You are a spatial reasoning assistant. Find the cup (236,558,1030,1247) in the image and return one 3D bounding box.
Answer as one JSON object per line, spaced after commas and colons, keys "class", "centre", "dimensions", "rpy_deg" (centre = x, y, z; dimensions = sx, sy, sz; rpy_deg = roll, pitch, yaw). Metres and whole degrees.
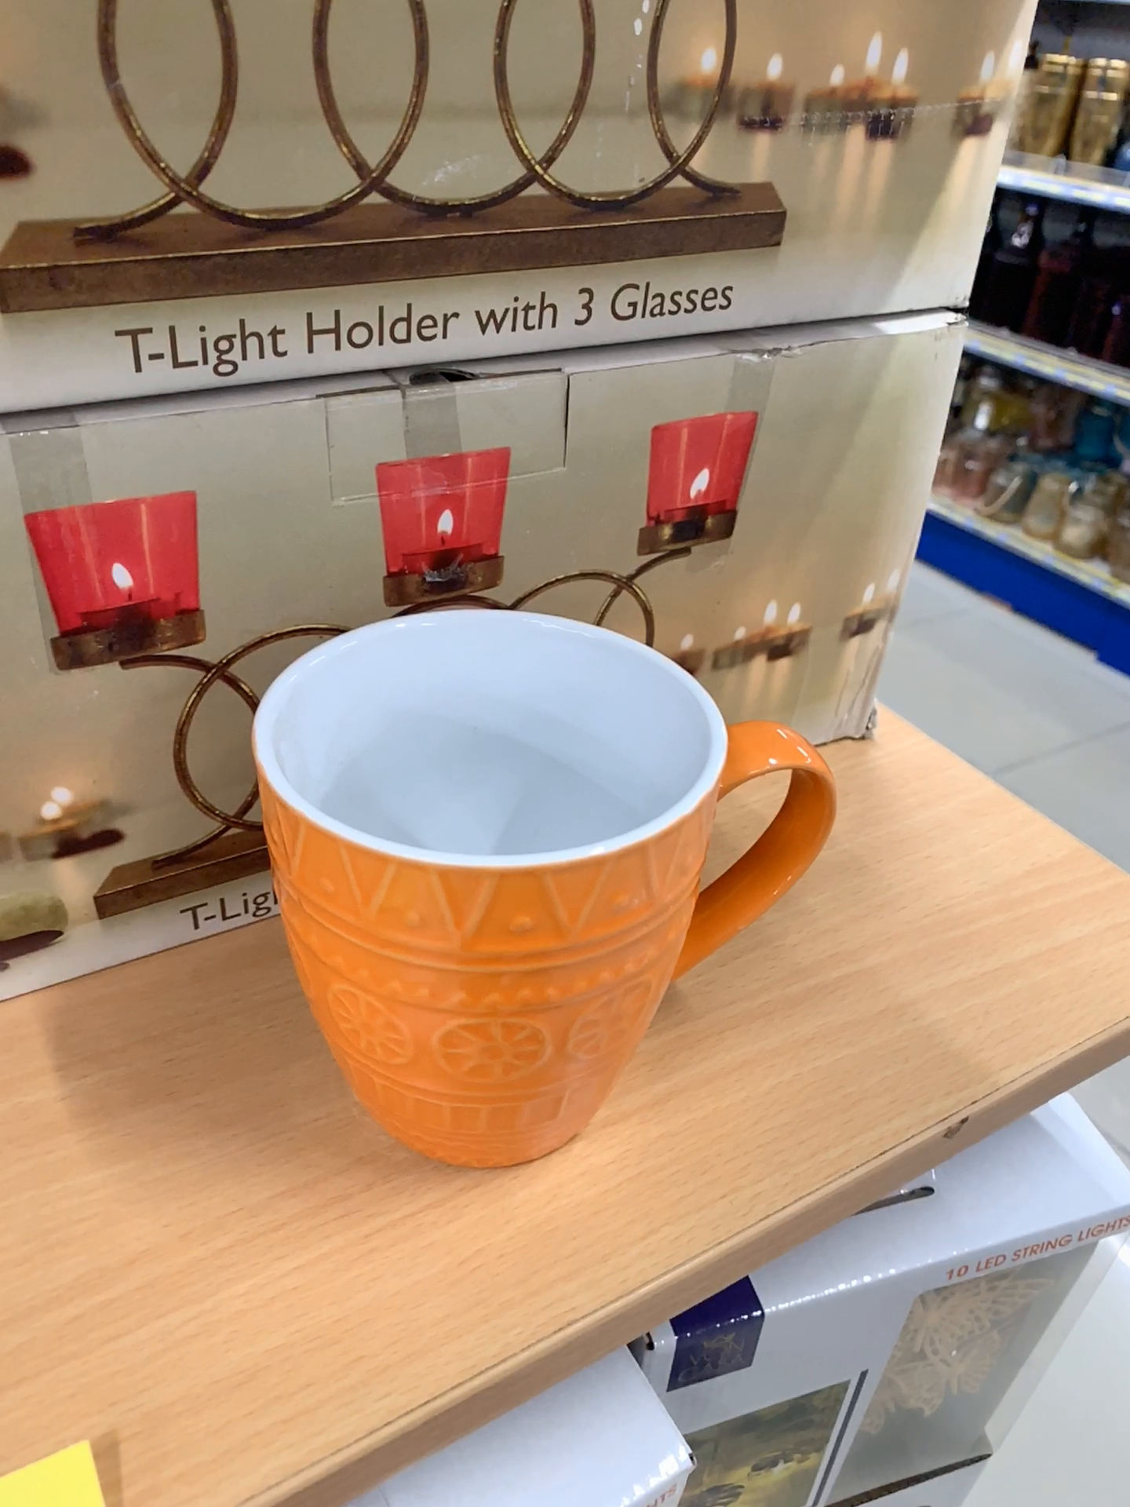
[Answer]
{"class": "cup", "centre": [0.007, 0.020, 0.232], "dimensions": [0.120, 0.080, 0.080], "rpy_deg": [-10, 36, -22]}
